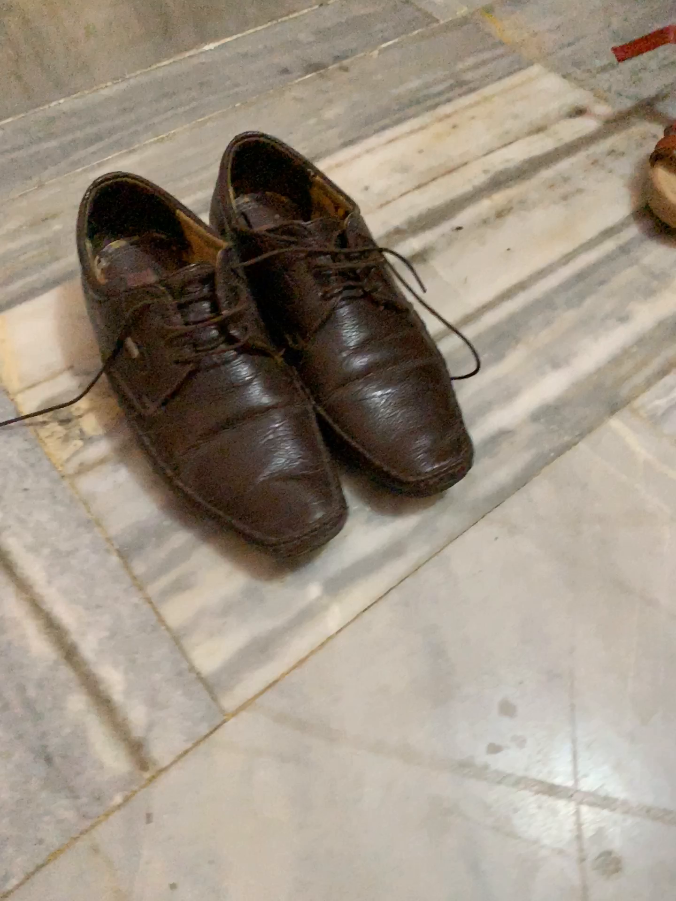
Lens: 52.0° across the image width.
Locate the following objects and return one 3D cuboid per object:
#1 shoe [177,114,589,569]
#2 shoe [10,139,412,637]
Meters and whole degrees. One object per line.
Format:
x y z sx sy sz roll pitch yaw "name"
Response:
0.010 -0.082 0.450 0.100 0.110 0.283 -27 61 -18 "shoe"
-0.084 -0.050 0.417 0.100 0.110 0.283 -27 61 -18 "shoe"
